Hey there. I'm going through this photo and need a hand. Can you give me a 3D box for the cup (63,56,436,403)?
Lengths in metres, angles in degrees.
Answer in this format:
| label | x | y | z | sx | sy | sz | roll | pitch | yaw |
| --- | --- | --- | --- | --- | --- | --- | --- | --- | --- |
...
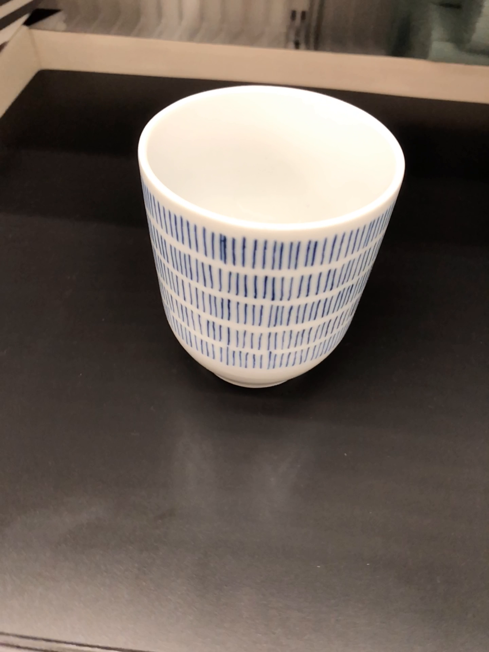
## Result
| label | x | y | z | sx | sy | sz | roll | pitch | yaw |
| --- | --- | --- | --- | --- | --- | --- | --- | --- | --- |
| cup | 0.002 | -0.030 | 0.168 | 0.080 | 0.070 | 0.070 | 5 | 46 | 2 |
